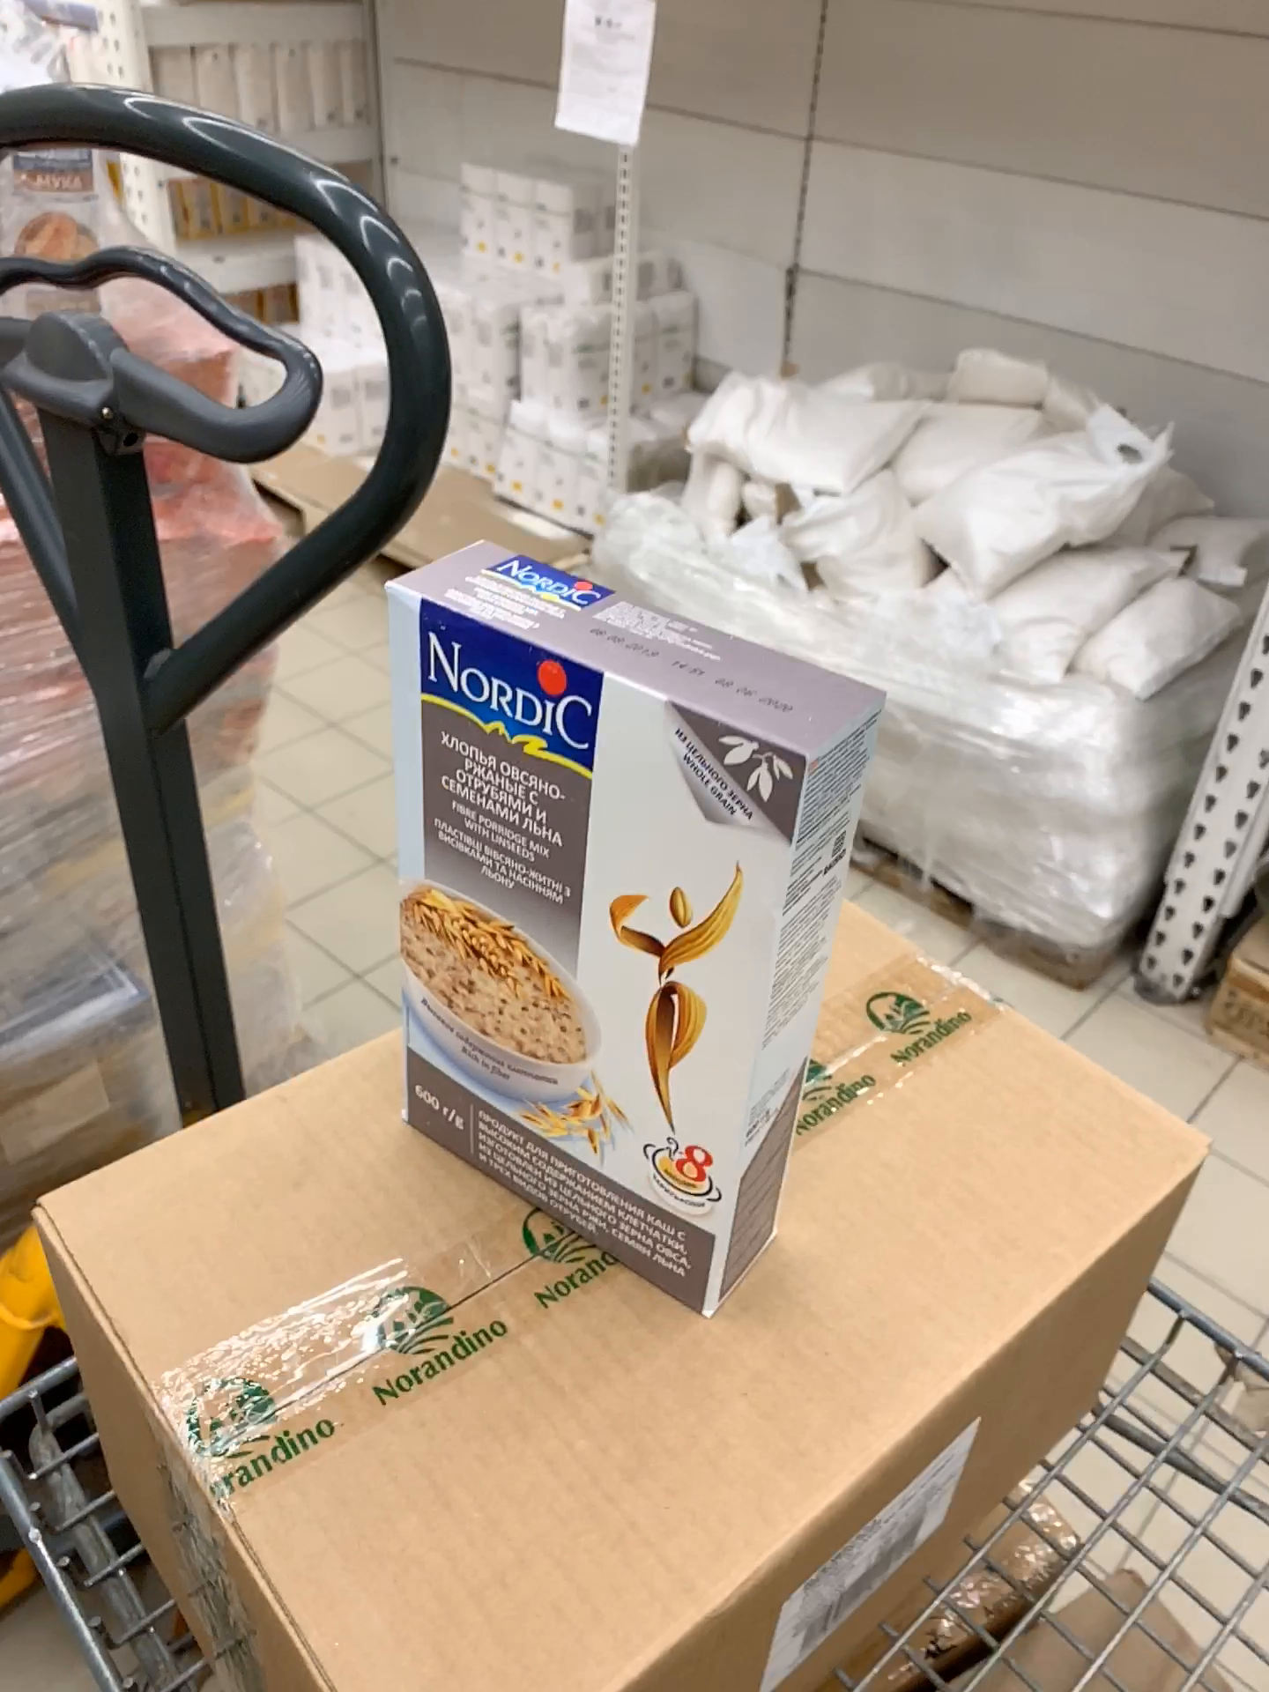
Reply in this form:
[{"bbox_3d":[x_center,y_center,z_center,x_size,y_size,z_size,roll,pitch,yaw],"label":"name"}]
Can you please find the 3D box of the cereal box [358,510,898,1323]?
[{"bbox_3d":[-0.012,0.030,0.436,0.150,0.239,0.050,25,41,26],"label":"cereal box"}]
